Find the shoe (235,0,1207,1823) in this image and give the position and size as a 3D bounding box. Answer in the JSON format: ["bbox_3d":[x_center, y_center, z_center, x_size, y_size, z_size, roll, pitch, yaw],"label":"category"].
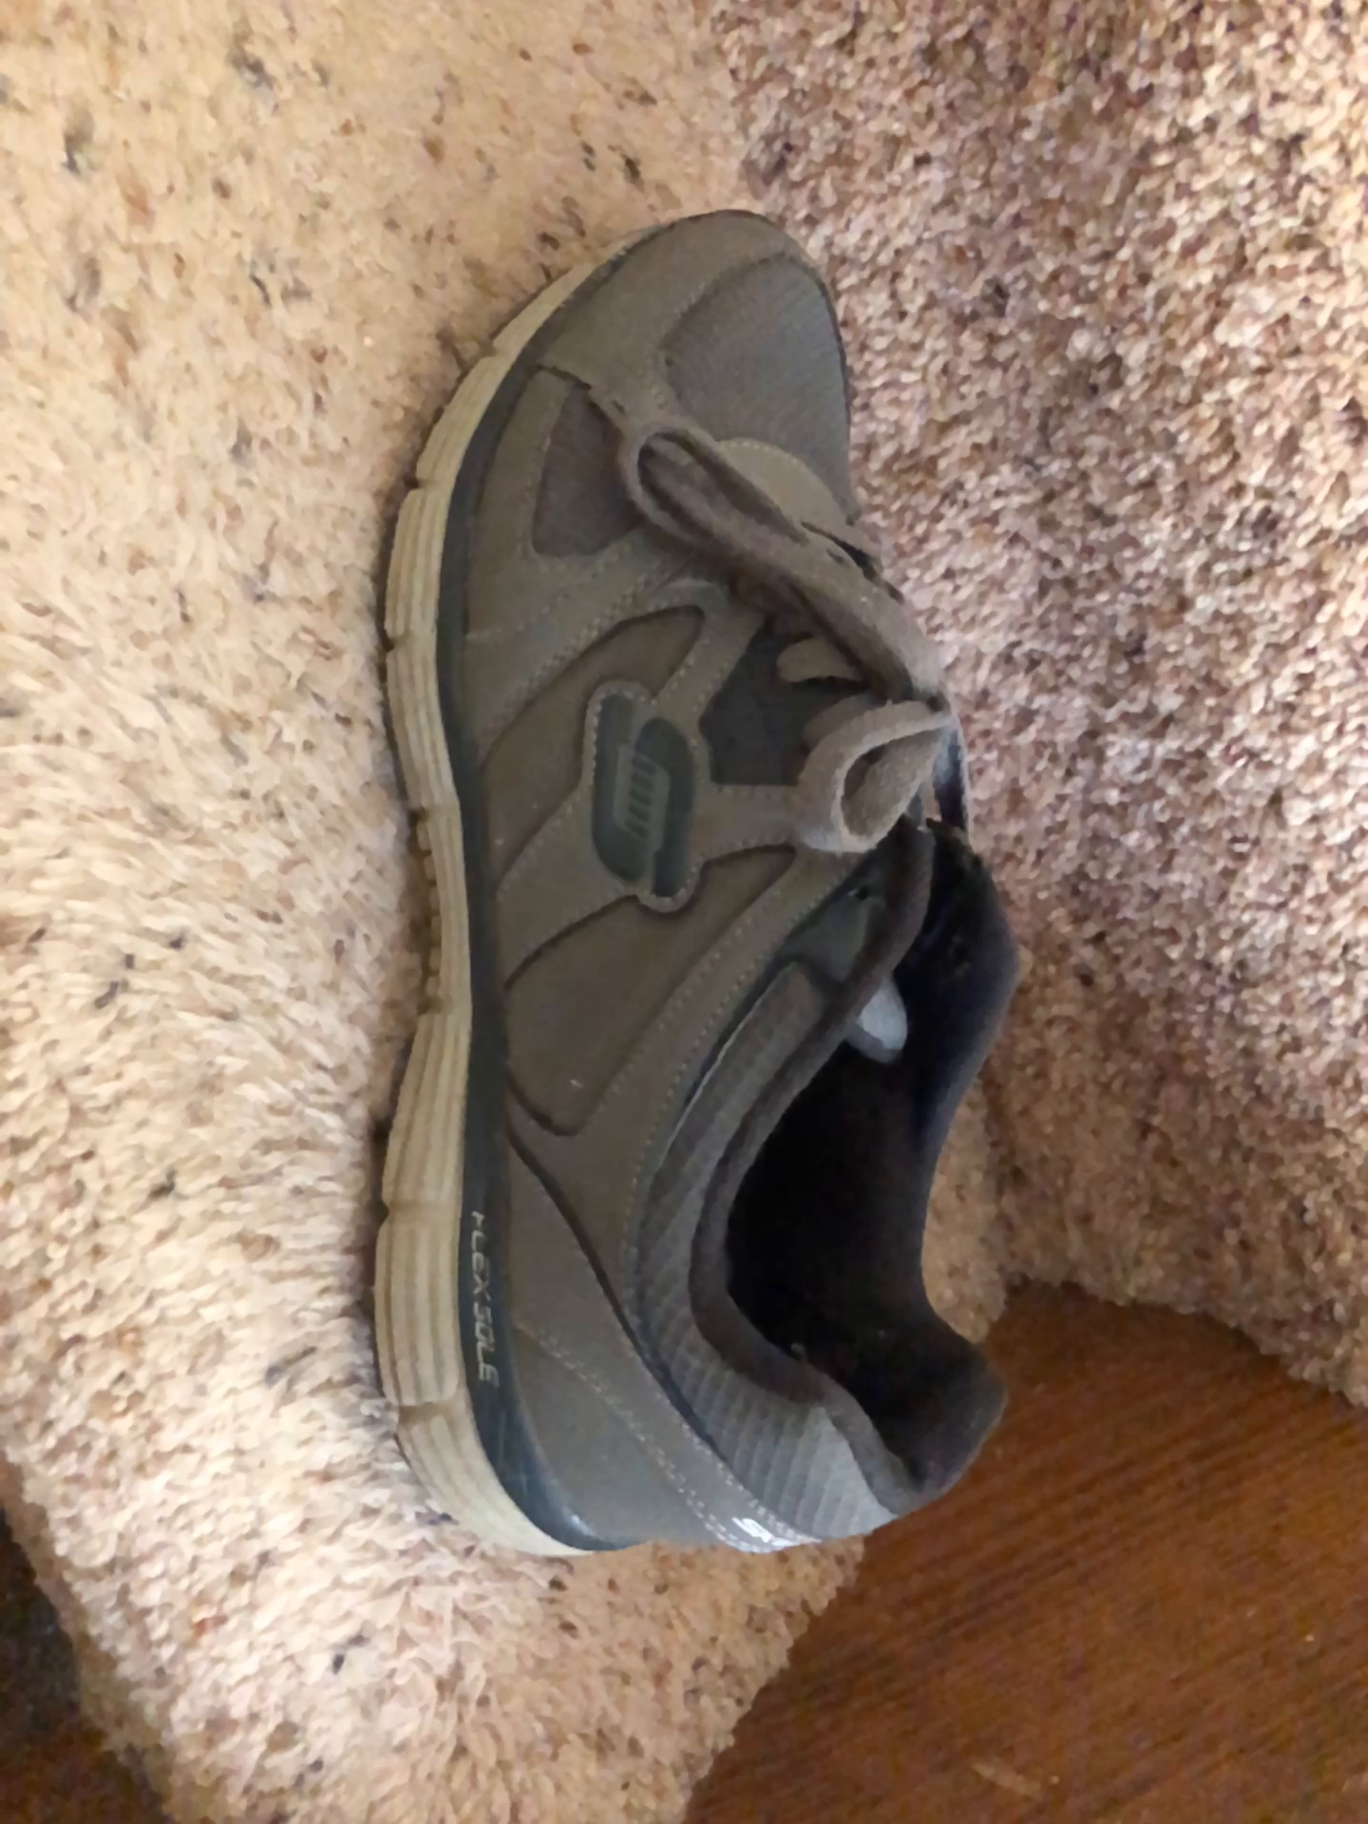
[{"bbox_3d":[0.013,-0.016,0.308,0.111,0.139,0.300,12,79,-50],"label":"shoe"}]
